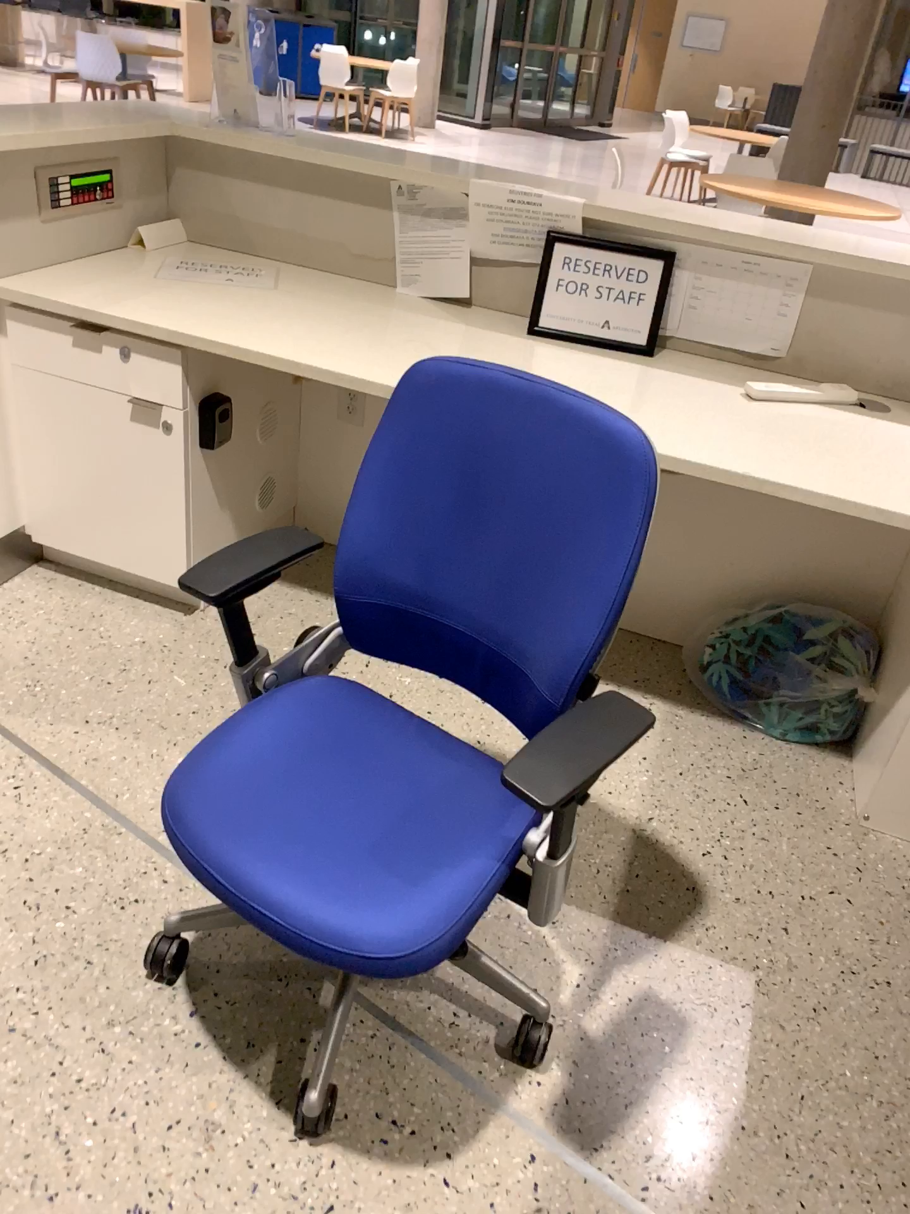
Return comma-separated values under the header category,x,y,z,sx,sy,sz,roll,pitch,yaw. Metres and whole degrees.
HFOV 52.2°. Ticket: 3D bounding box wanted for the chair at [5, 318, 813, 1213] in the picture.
category,x,y,z,sx,sy,sz,roll,pitch,yaw
chair,-0.069,0.175,1.303,0.687,0.879,0.651,25,35,25
